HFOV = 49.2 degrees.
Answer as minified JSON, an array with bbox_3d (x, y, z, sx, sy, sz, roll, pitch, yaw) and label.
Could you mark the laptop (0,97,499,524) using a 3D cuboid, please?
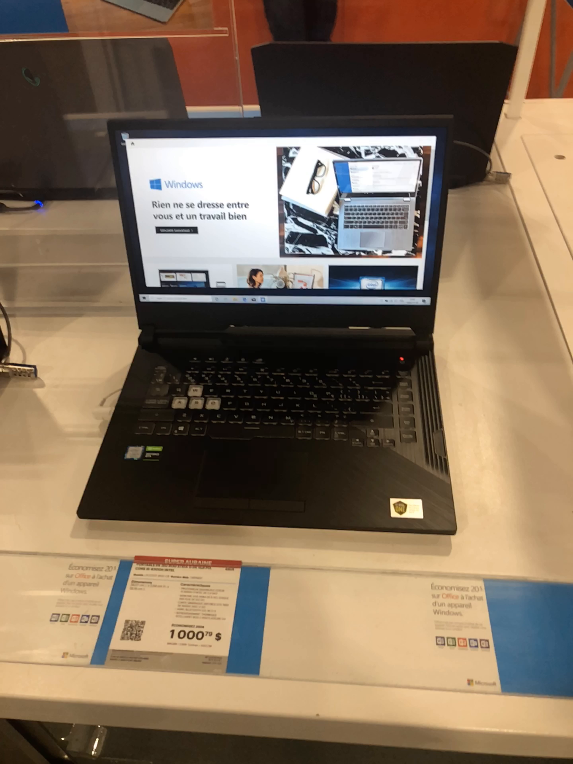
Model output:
[{"bbox_3d":[-0.012,-0.081,0.642,0.363,0.236,0.346,1,48,6],"label":"laptop"}]
